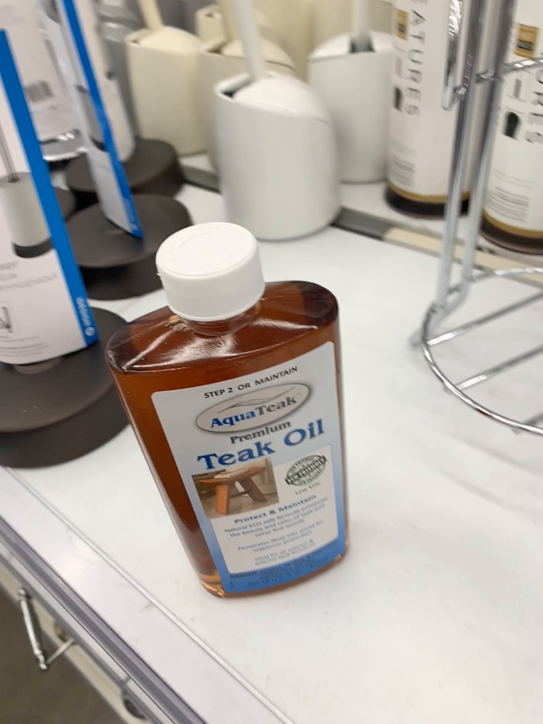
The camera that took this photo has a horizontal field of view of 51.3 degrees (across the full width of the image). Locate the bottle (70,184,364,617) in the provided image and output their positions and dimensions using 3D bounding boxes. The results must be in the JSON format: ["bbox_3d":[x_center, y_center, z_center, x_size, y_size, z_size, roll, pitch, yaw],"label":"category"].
[{"bbox_3d":[-0.009,0.036,0.256,0.088,0.206,0.046,-16,43,-7],"label":"bottle"}]
